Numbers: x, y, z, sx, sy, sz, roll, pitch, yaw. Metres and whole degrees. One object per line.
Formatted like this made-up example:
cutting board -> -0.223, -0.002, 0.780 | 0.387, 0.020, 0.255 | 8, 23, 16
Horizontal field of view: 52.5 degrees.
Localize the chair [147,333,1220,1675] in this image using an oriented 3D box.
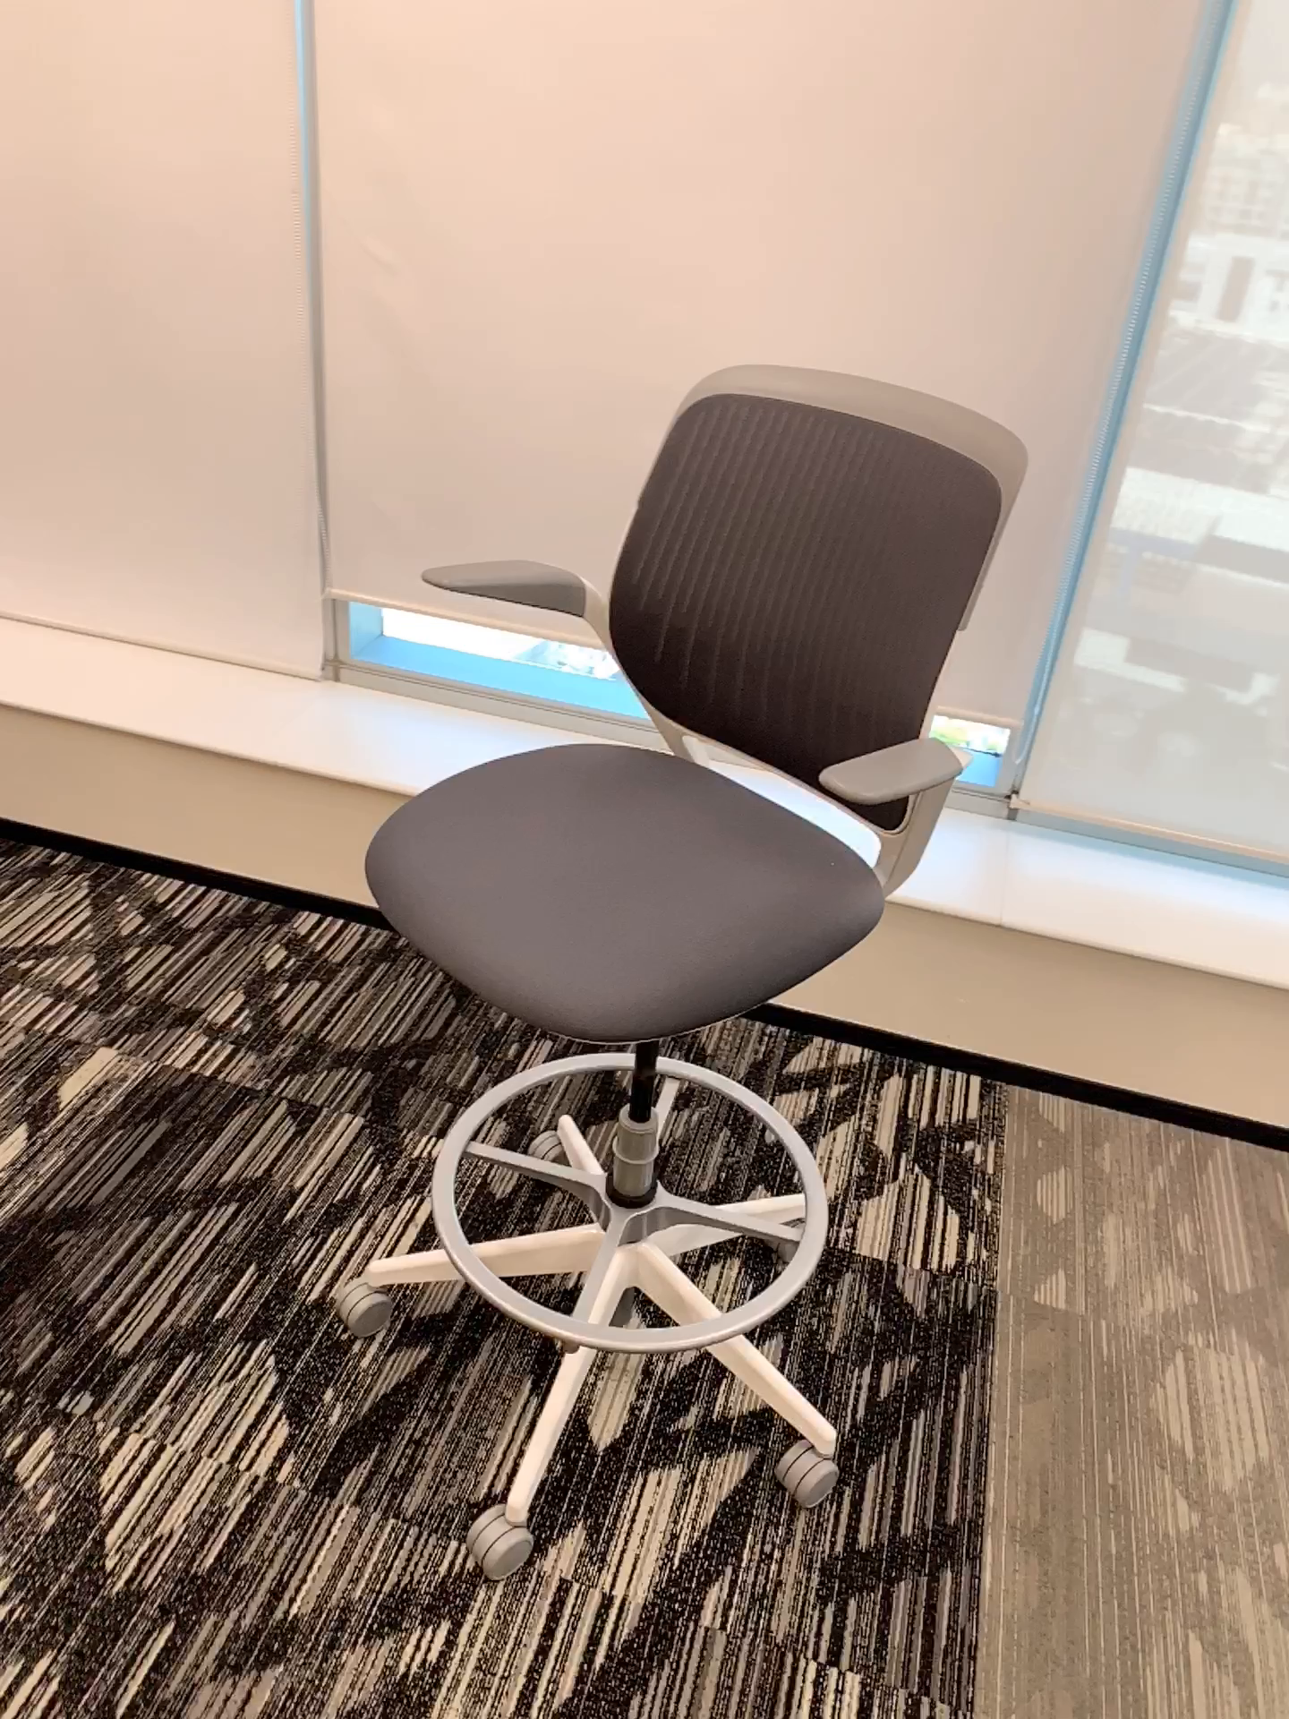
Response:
chair -> -0.026, 0.092, 1.465 | 0.692, 1.140, 0.693 | -18, 38, -35
